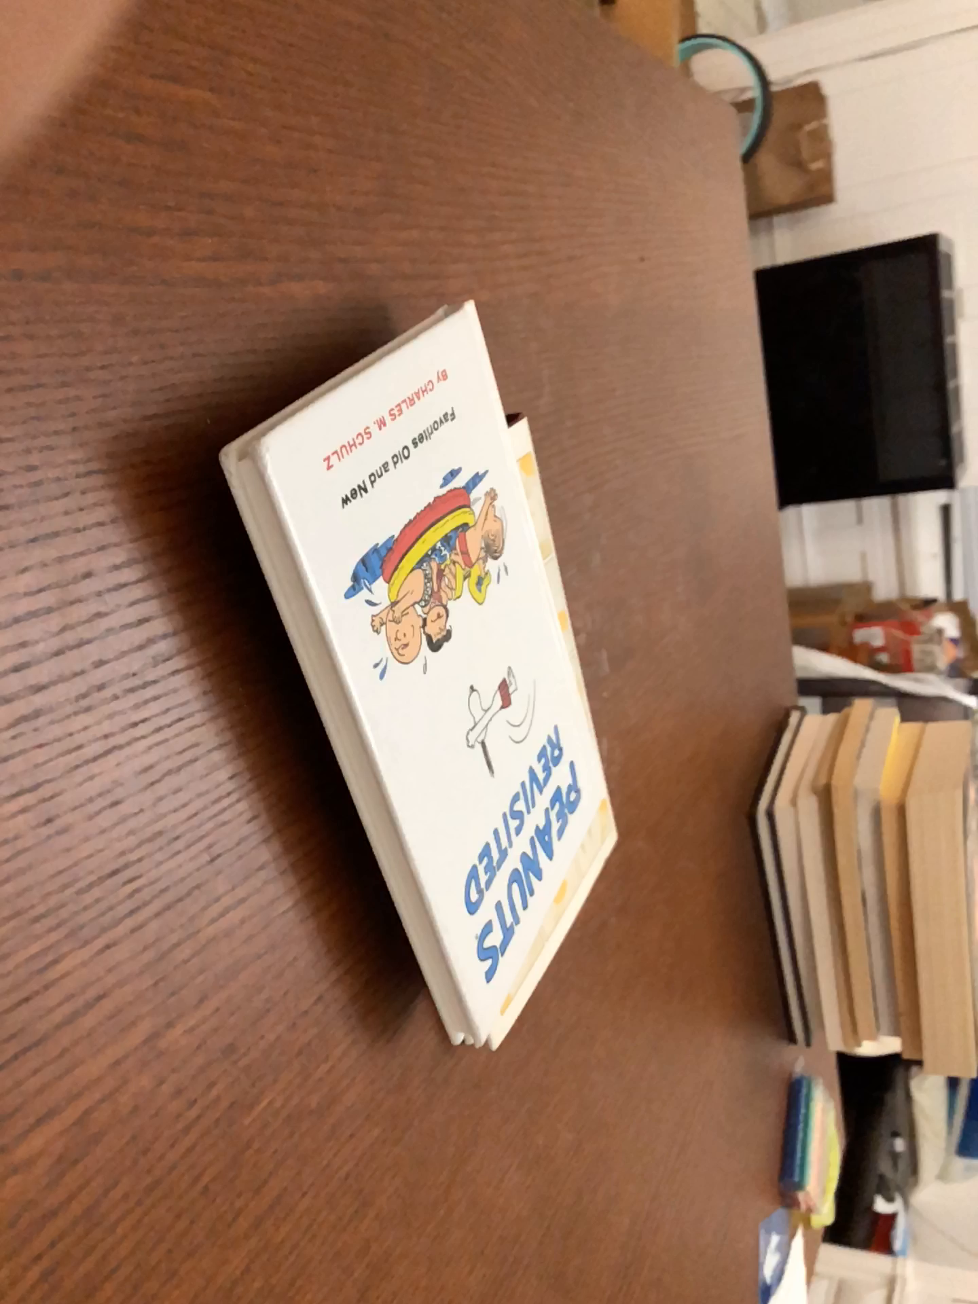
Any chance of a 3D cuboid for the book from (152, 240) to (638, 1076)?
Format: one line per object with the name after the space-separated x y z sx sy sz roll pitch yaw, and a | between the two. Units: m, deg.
-0.007 -0.003 0.346 0.161 0.020 0.210 -55 134 -50 | book
